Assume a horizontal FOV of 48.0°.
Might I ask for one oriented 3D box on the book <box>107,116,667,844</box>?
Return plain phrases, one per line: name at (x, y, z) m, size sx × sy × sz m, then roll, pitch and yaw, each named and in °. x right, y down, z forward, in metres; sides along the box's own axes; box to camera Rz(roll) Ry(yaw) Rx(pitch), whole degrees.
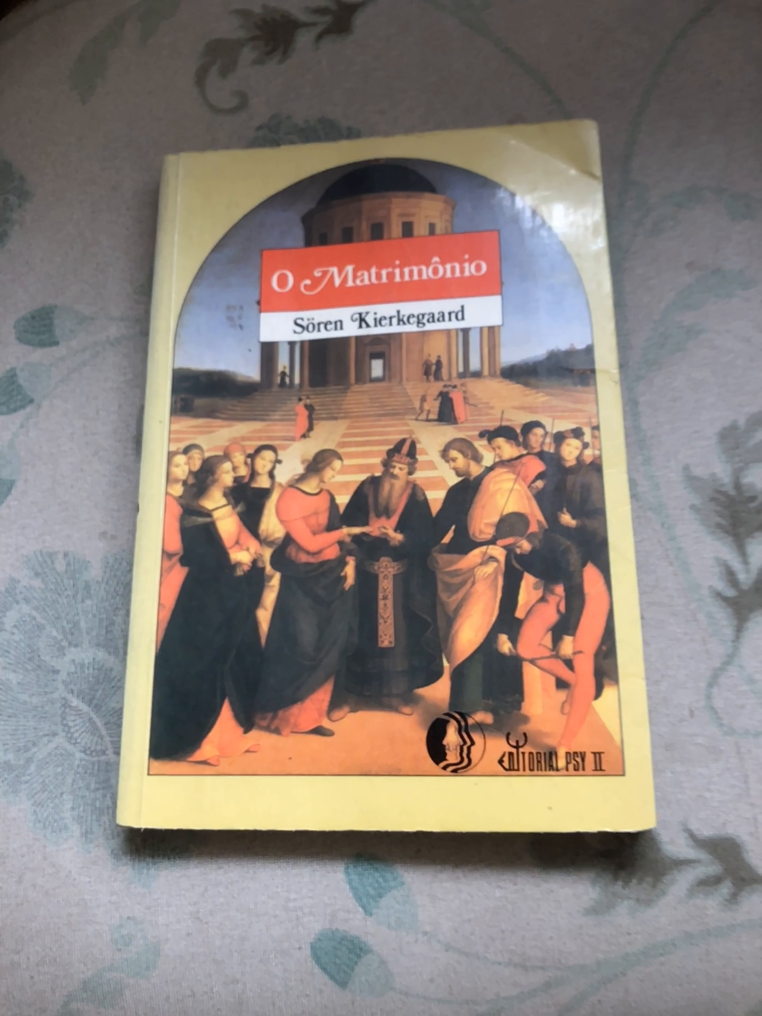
book at (0.001, -0.014, 0.245) m, size 0.140 × 0.020 × 0.200 m, roll -1°, pitch 77°, yaw 7°
